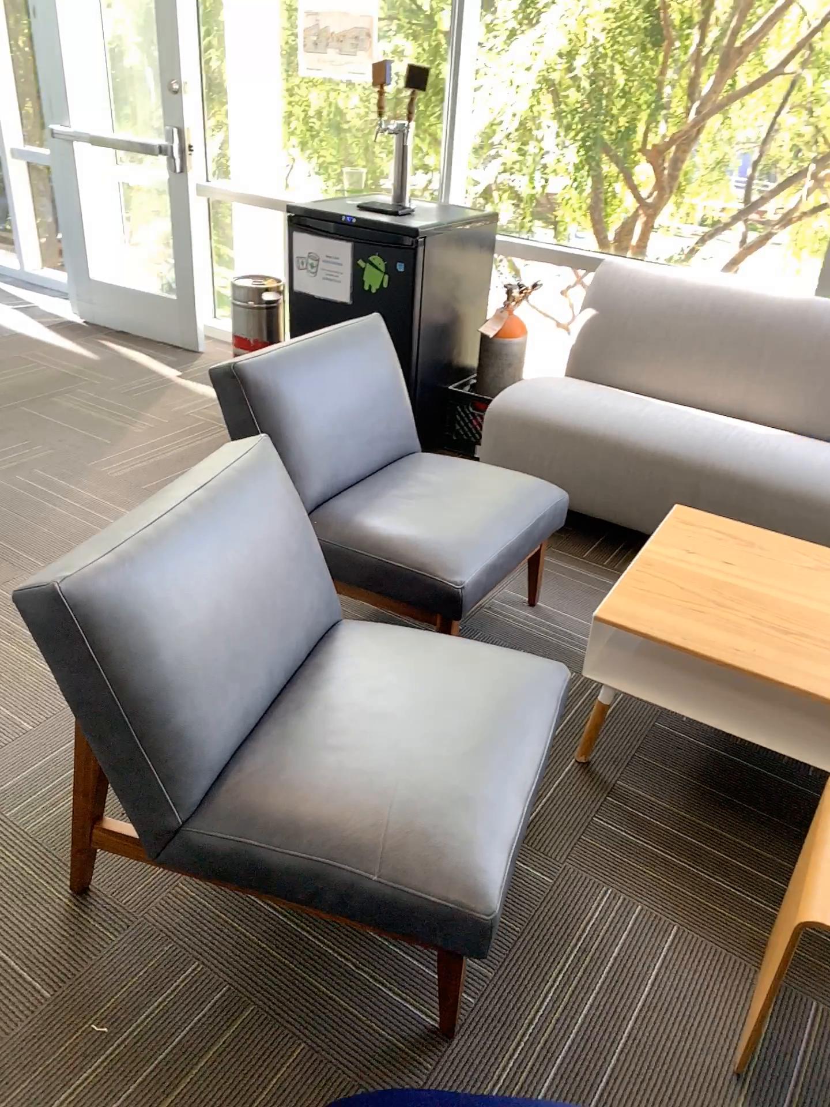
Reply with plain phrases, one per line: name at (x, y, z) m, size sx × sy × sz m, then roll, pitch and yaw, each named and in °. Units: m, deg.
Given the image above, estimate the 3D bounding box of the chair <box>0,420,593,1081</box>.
chair at (-0.203, 0.297, 1.605) m, size 0.851 × 0.766 × 0.683 m, roll 13°, pitch 31°, yaw 15°

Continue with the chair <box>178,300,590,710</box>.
chair at (-0.080, -0.205, 2.466) m, size 0.852 × 0.766 × 0.742 m, roll 19°, pitch 33°, yaw 23°
